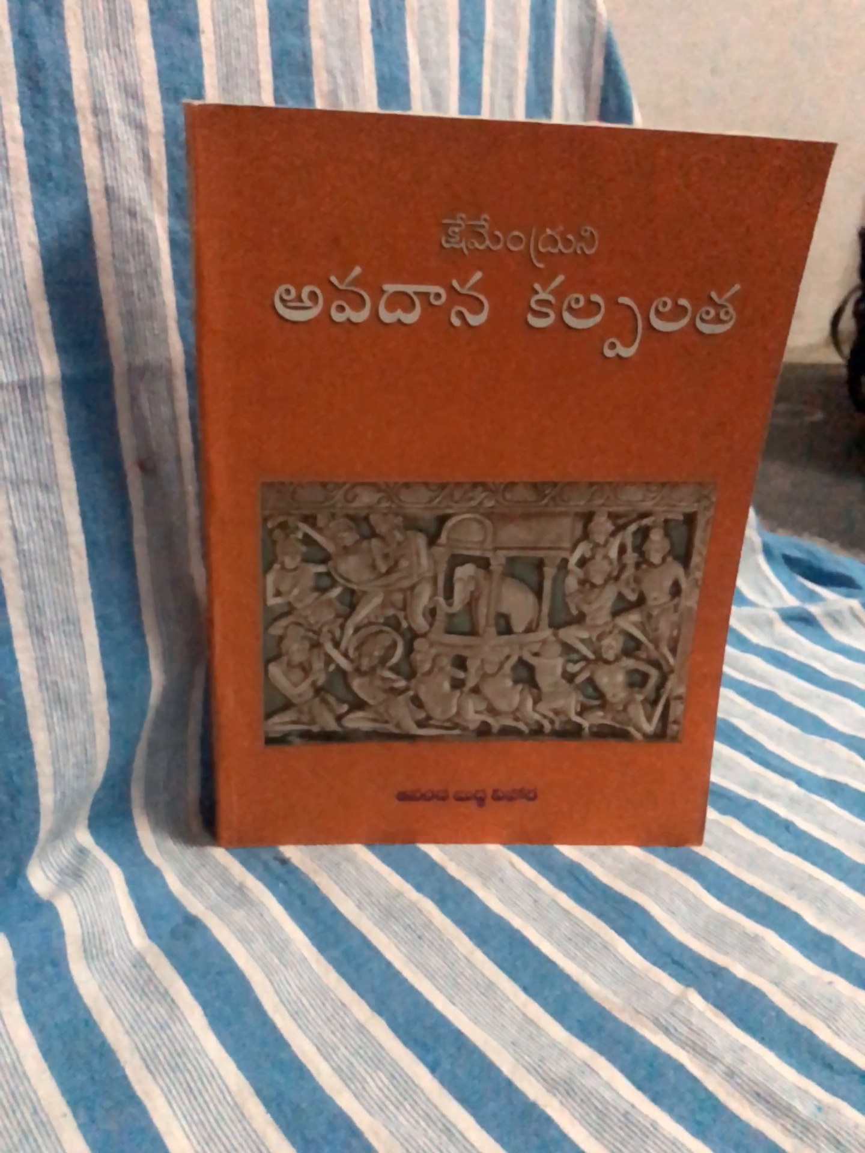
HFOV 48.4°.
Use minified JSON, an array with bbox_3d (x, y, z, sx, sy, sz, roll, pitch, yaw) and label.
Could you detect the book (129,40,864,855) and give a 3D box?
[{"bbox_3d":[0.012,-0.021,0.287,0.180,0.229,0.030,1,23,-6],"label":"book"}]
